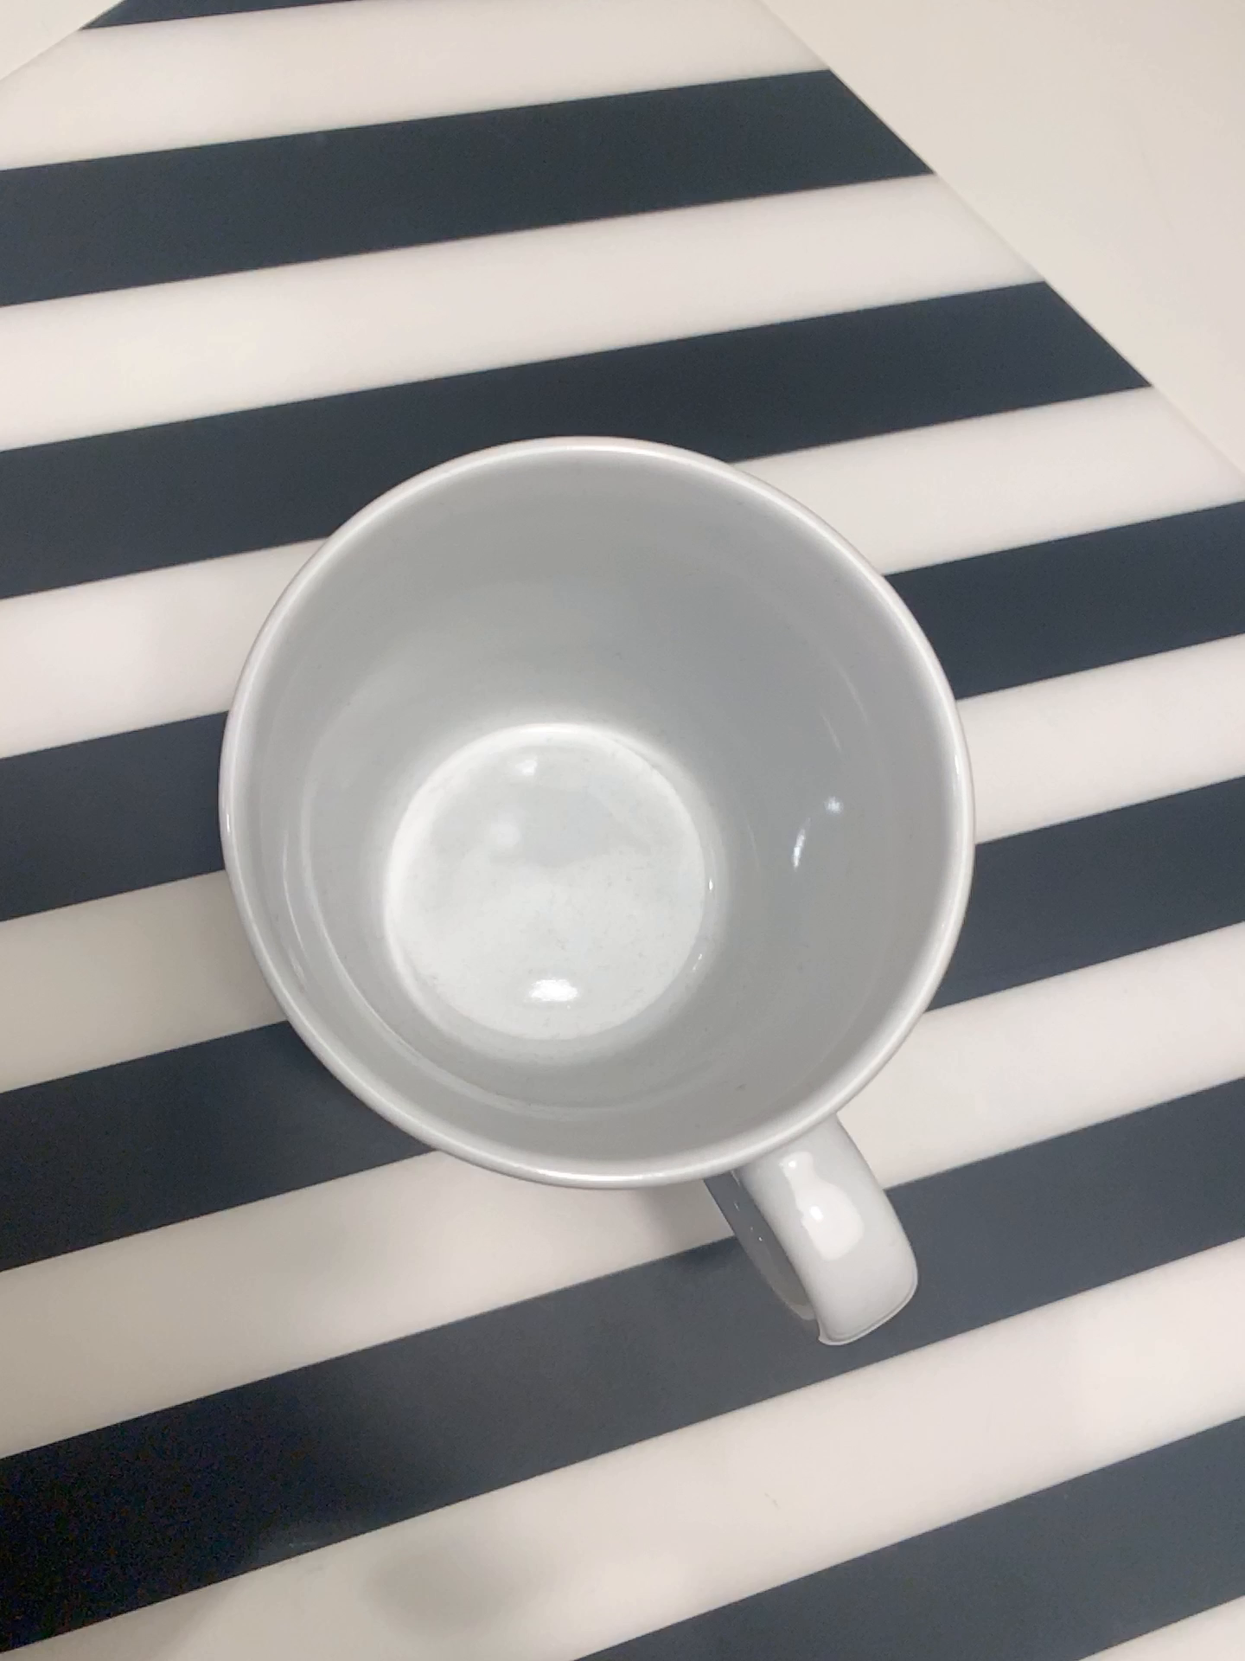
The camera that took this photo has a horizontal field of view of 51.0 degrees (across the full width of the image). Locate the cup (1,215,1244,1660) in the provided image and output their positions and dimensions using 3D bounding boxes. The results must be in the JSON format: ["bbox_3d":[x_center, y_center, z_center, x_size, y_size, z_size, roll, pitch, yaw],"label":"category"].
[{"bbox_3d":[-0.003,0.009,0.150,0.070,0.070,0.110,-28,84,-13],"label":"cup"}]
